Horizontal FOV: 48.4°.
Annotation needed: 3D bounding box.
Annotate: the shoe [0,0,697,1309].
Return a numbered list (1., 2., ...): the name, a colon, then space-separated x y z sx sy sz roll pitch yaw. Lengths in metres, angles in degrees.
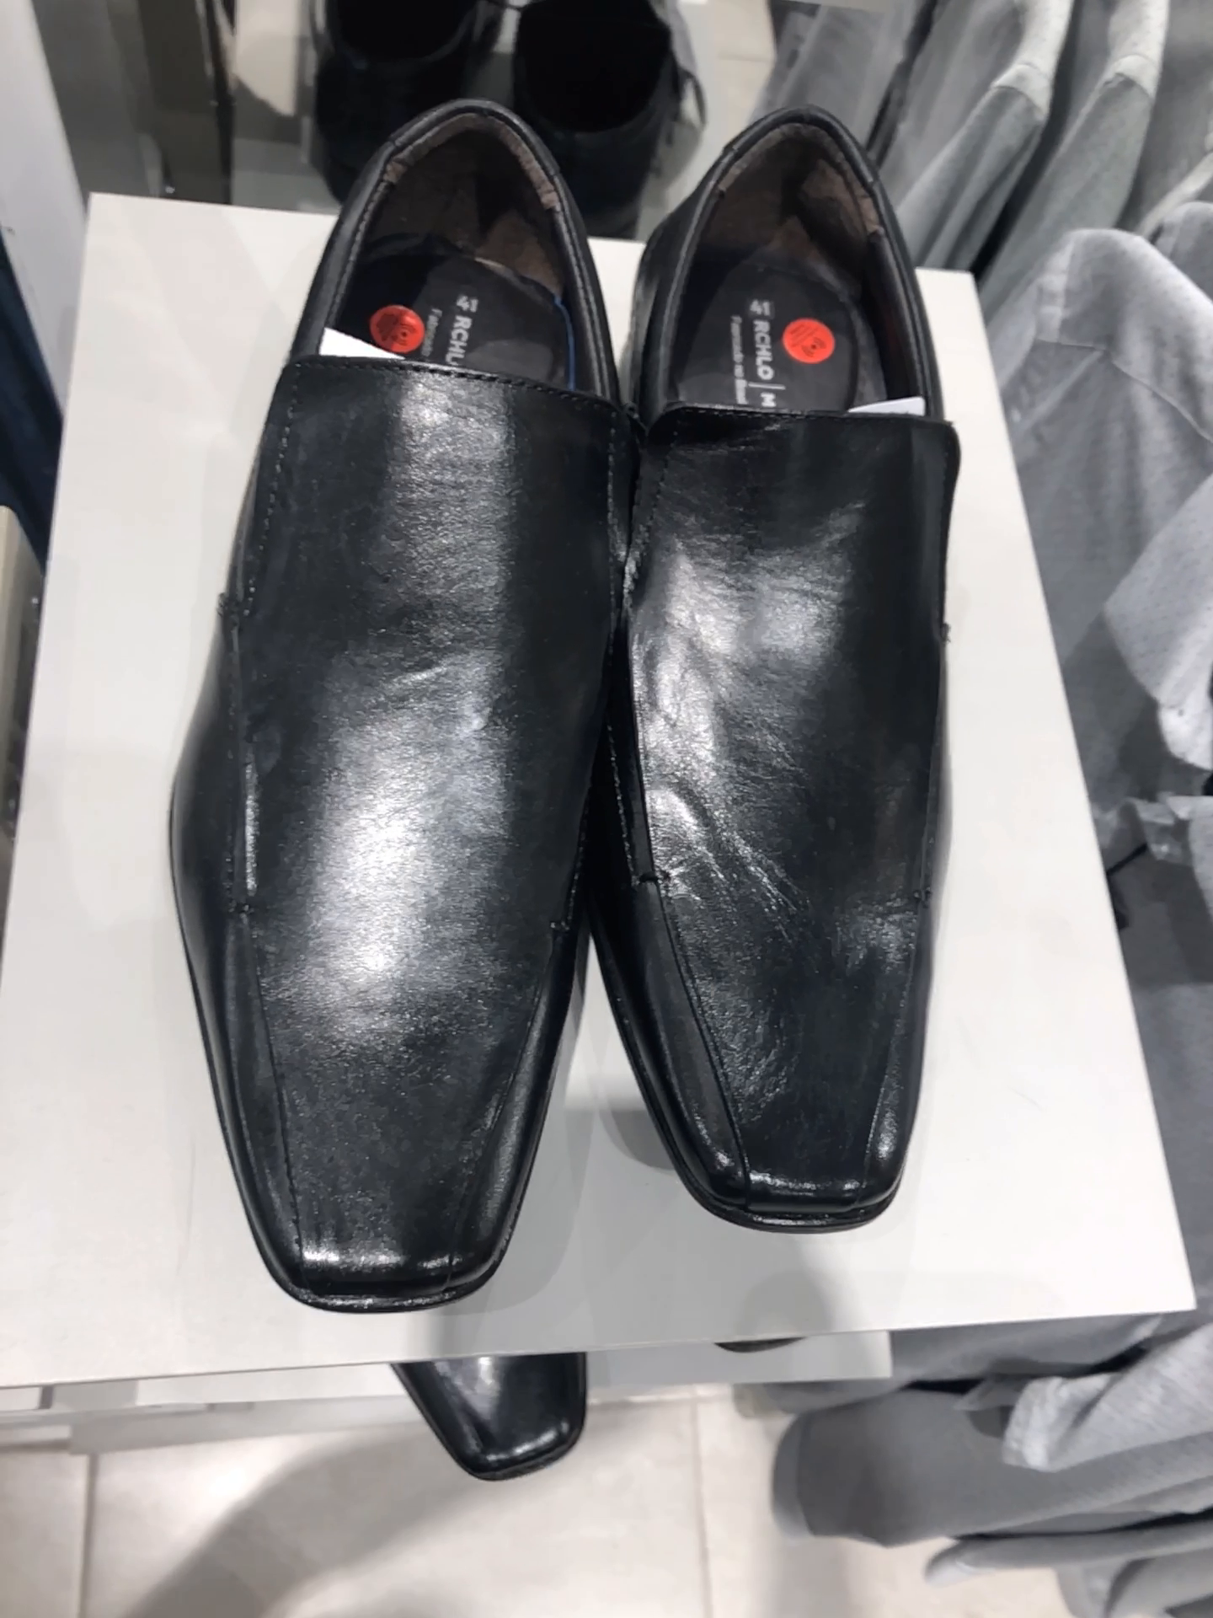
1. shoe: -0.049 -0.047 0.315 0.110 0.100 0.301 2 65 -7

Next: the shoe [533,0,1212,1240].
1. shoe: 0.042 -0.049 0.325 0.110 0.100 0.281 2 65 -7
